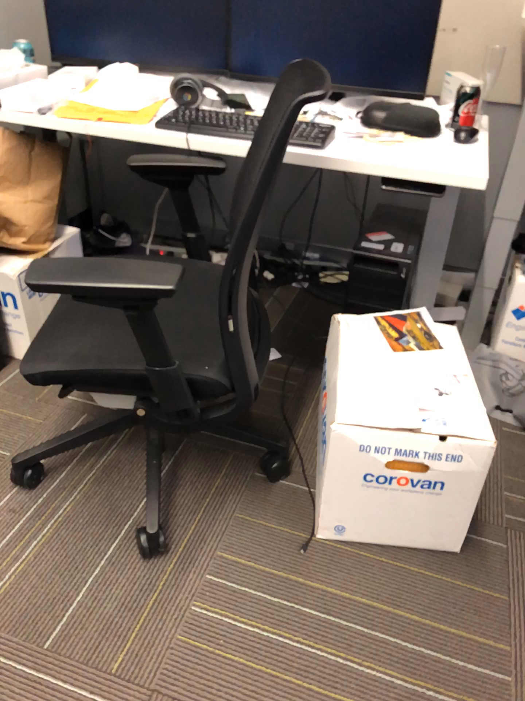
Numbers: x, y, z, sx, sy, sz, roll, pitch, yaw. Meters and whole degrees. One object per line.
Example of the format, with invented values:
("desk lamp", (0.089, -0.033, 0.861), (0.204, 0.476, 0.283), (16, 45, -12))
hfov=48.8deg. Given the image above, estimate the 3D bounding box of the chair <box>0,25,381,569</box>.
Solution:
("chair", (-0.214, -0.152, 1.367), (0.700, 0.994, 0.784), (3, 33, -1))
